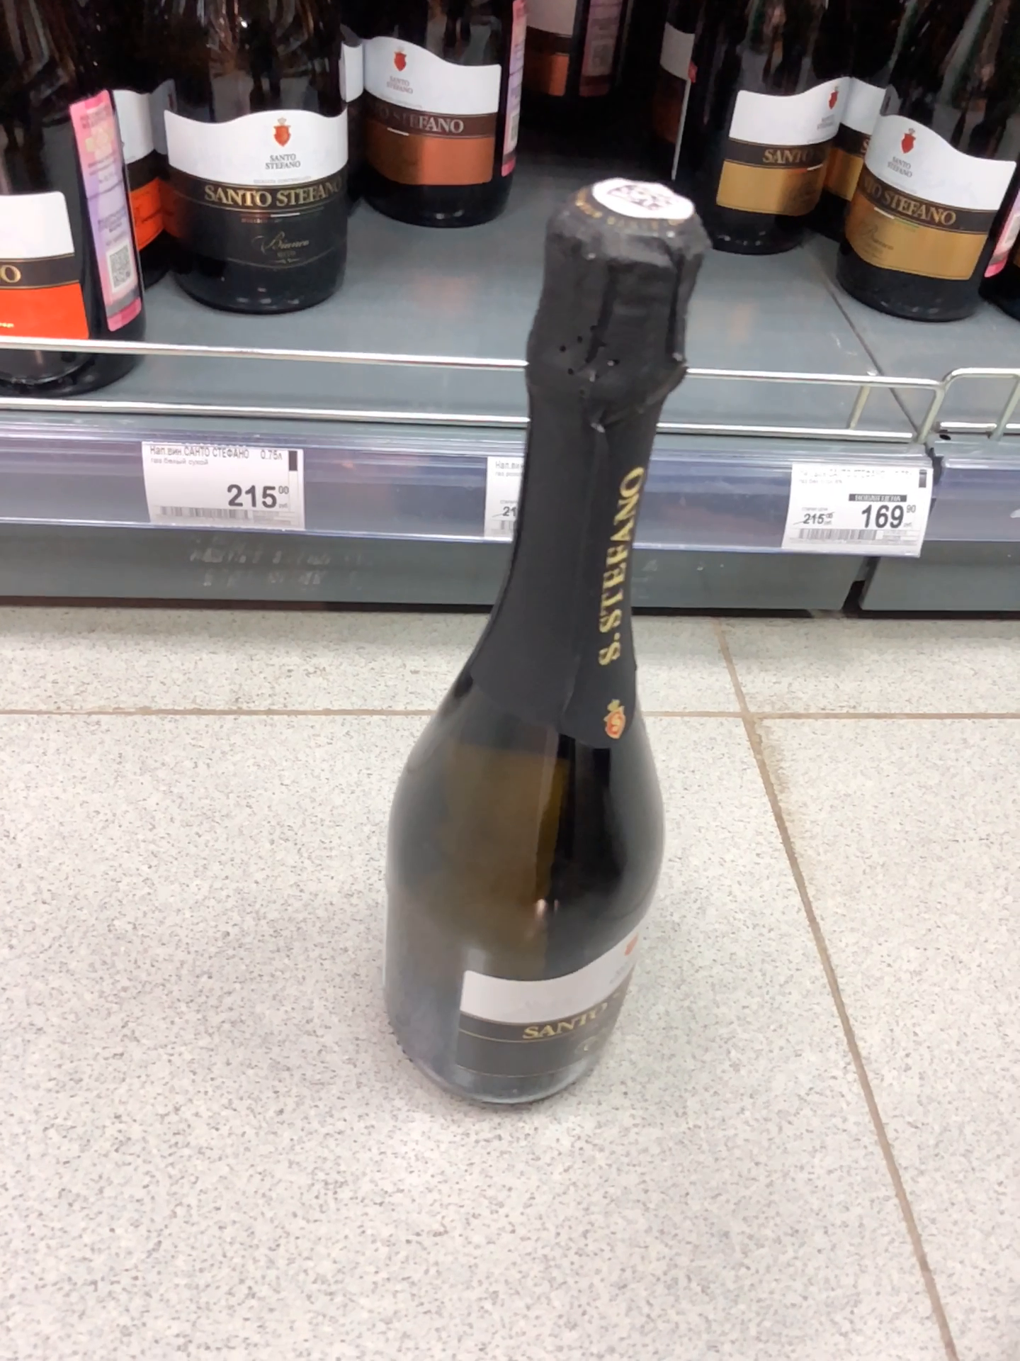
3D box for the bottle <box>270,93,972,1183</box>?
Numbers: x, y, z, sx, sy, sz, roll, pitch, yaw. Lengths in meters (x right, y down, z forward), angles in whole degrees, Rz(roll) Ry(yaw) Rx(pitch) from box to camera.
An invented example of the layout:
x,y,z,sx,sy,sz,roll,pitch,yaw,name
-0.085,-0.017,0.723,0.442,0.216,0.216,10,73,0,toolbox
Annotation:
x,y,z,sx,sy,sz,roll,pitch,yaw,name
0.012,0.009,0.333,0.100,0.298,0.110,35,49,28,bottle
